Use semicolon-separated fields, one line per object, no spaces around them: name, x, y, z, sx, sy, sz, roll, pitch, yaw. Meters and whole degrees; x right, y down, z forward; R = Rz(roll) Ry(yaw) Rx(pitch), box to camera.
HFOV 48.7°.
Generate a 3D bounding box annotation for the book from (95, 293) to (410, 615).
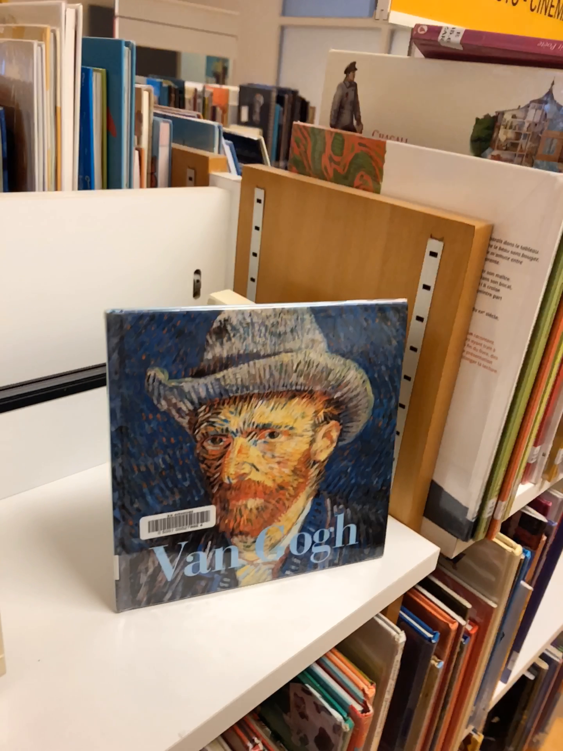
book;-0.014;0.047;0.410;0.200;0.197;0.013;-4;17;-21
